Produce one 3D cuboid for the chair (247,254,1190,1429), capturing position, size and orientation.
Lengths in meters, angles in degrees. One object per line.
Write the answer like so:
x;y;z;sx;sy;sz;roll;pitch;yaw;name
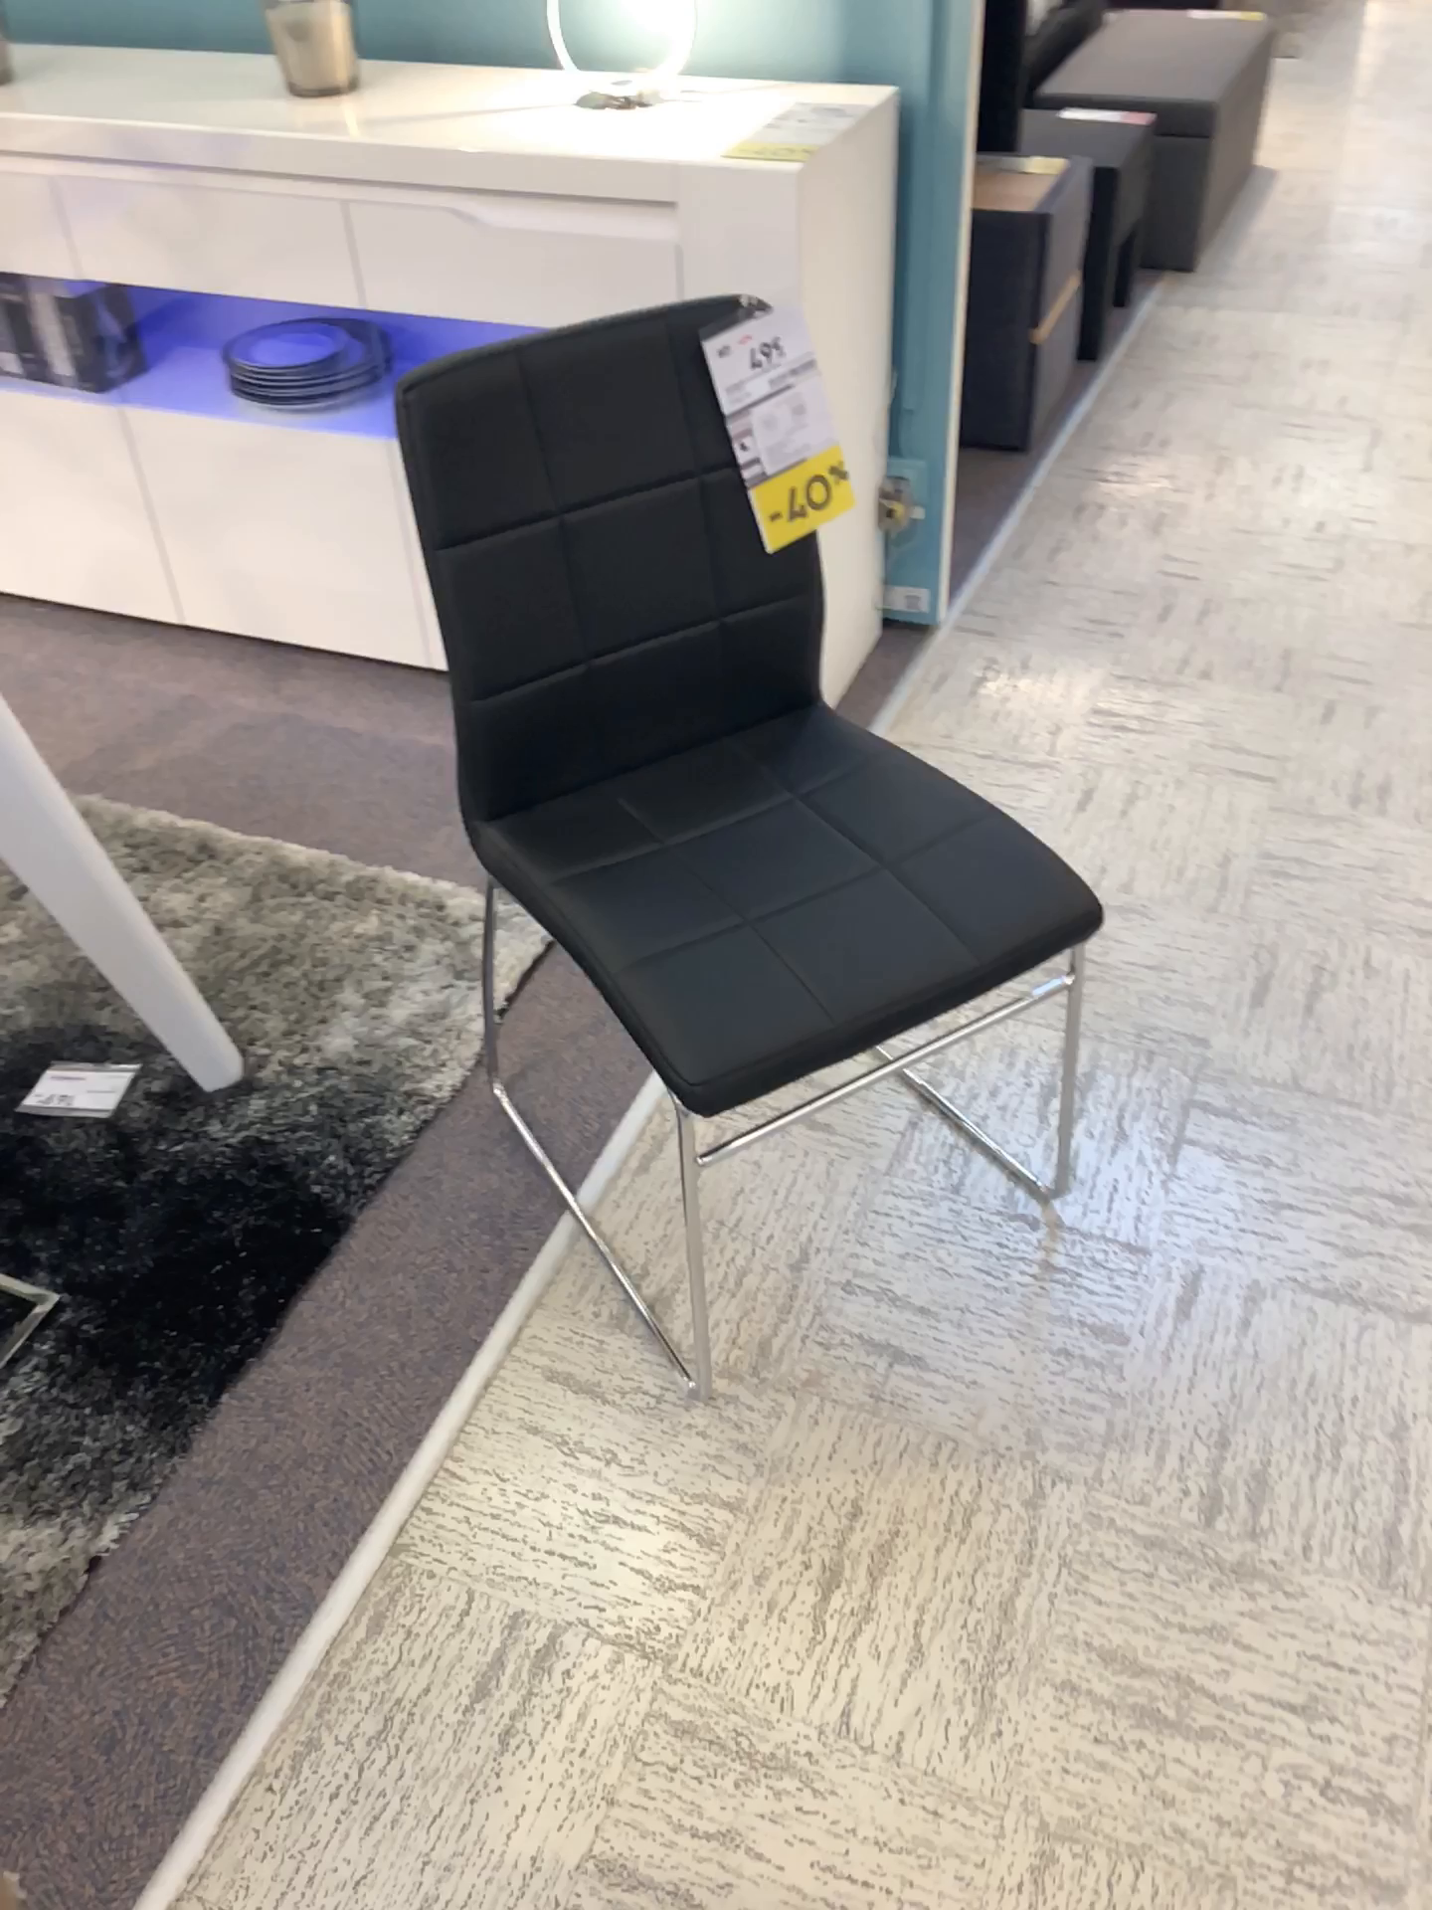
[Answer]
-0.001;-0.114;1.476;0.522;0.825;0.537;-25;45;-24;chair
